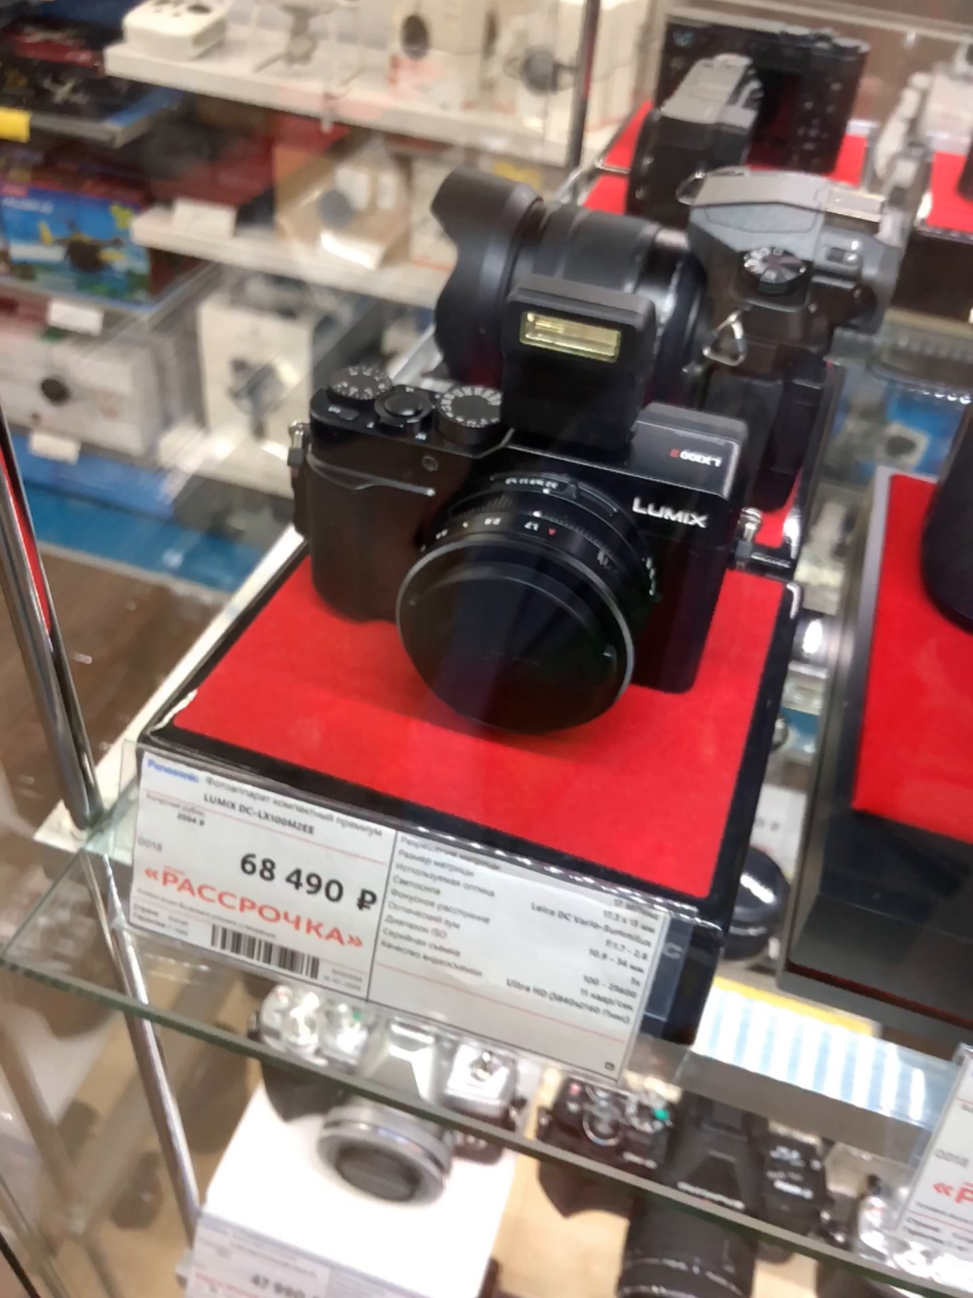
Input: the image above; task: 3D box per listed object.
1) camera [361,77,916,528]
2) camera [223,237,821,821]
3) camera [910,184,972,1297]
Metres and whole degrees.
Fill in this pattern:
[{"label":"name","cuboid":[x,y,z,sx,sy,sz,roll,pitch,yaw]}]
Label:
[{"label":"camera","cuboid":[0.048,-0.119,0.360,0.149,0.081,0.099,17,43,13]},{"label":"camera","cuboid":[0.008,-0.031,0.273,0.117,0.098,0.070,15,42,11]},{"label":"camera","cuboid":[0.210,0.001,0.255,0.175,0.114,0.227,15,42,11]}]
